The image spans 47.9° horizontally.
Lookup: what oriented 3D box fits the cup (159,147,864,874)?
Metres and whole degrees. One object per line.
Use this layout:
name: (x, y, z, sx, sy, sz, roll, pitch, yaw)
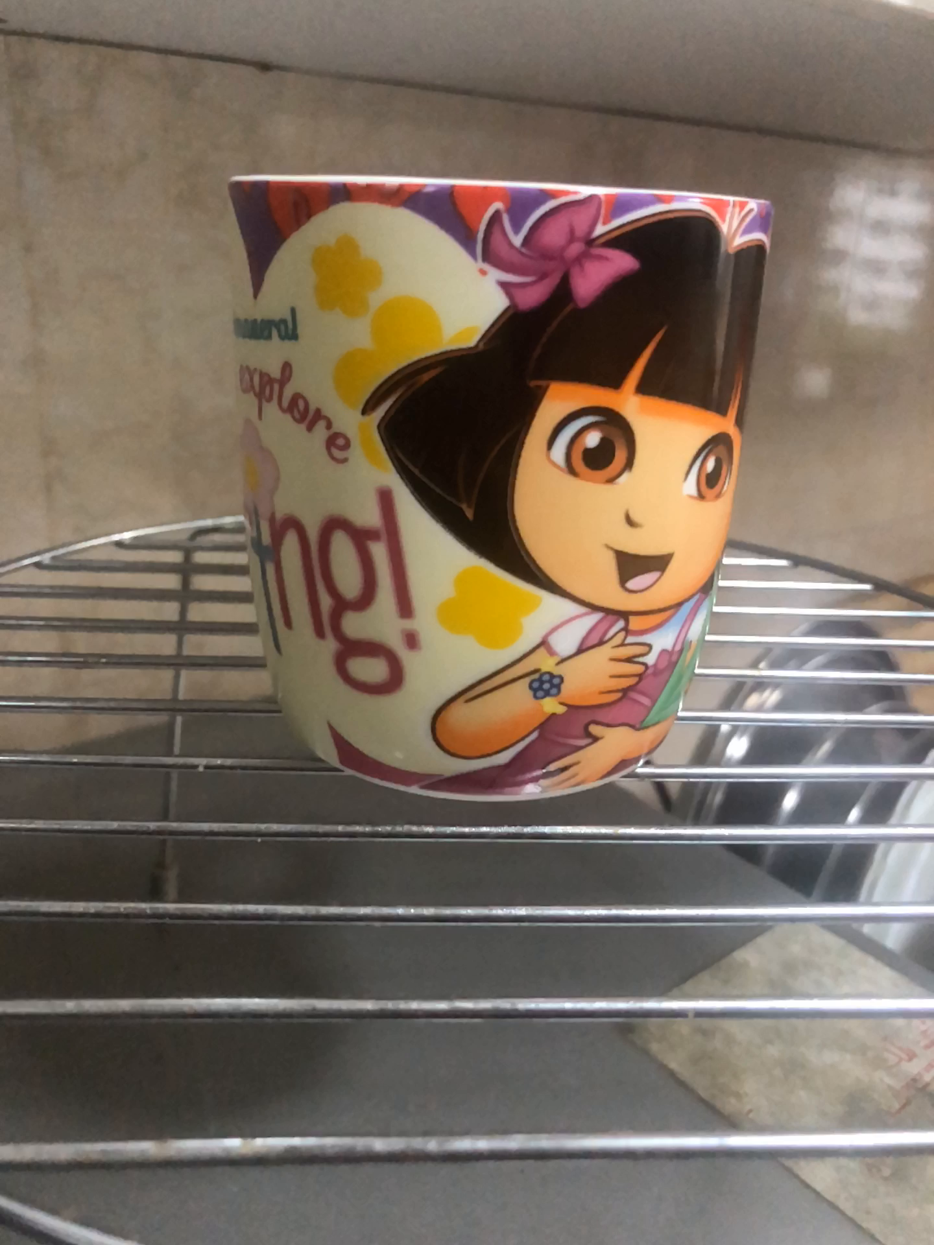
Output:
cup: (0.015, -0.032, 0.193, 0.070, 0.089, 0.120, 15, 23, 28)
